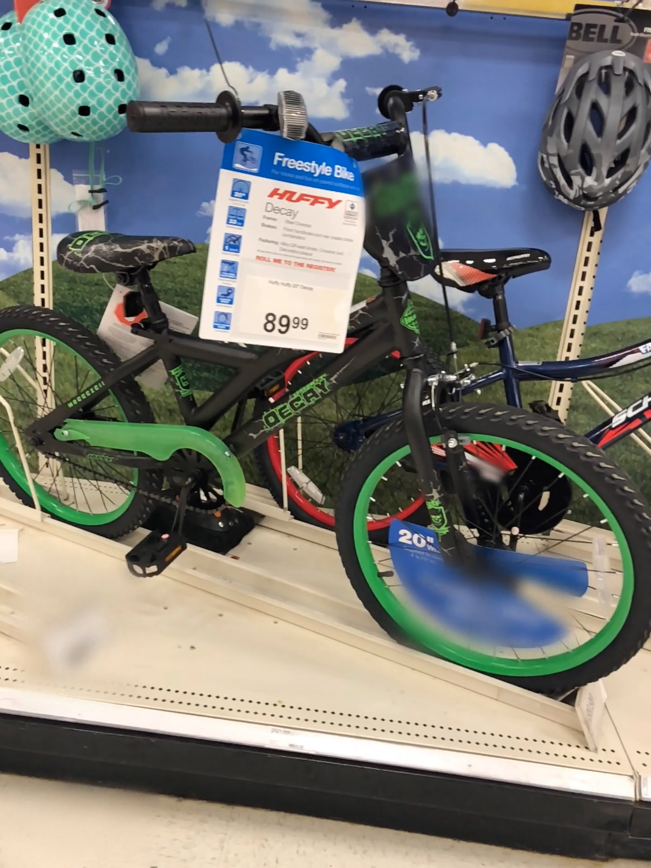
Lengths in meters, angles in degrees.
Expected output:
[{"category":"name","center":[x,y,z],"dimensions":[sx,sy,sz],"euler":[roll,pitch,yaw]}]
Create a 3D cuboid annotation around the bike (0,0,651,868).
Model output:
[{"category":"bike","center":[-0.142,-0.127,1.150],"dimensions":[1.361,0.880,0.630],"euler":[12,19,22]}]
